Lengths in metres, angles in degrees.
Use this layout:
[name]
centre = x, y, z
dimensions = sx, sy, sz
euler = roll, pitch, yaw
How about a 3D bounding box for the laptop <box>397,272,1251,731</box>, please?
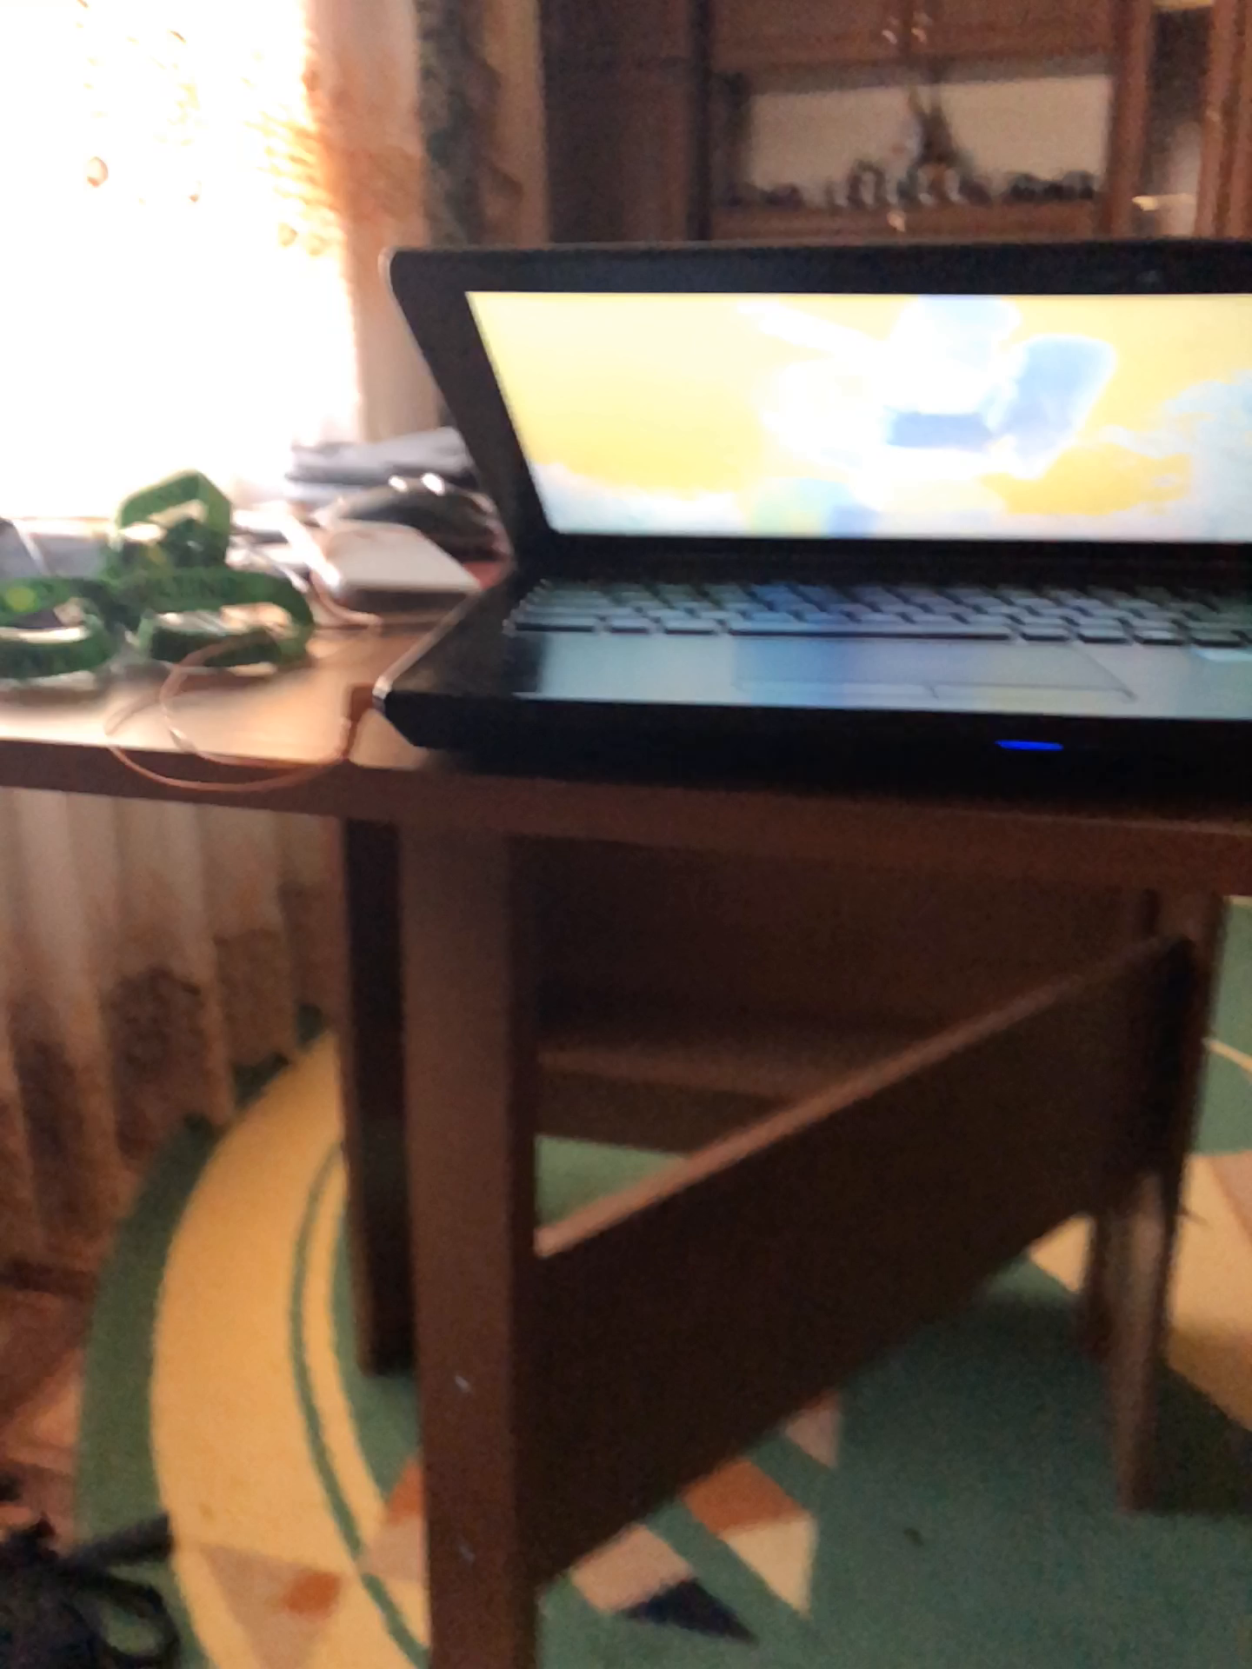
[laptop]
centre = 0.136, -0.114, 0.434
dimensions = 0.372, 0.095, 0.240
euler = 2, 19, 6
